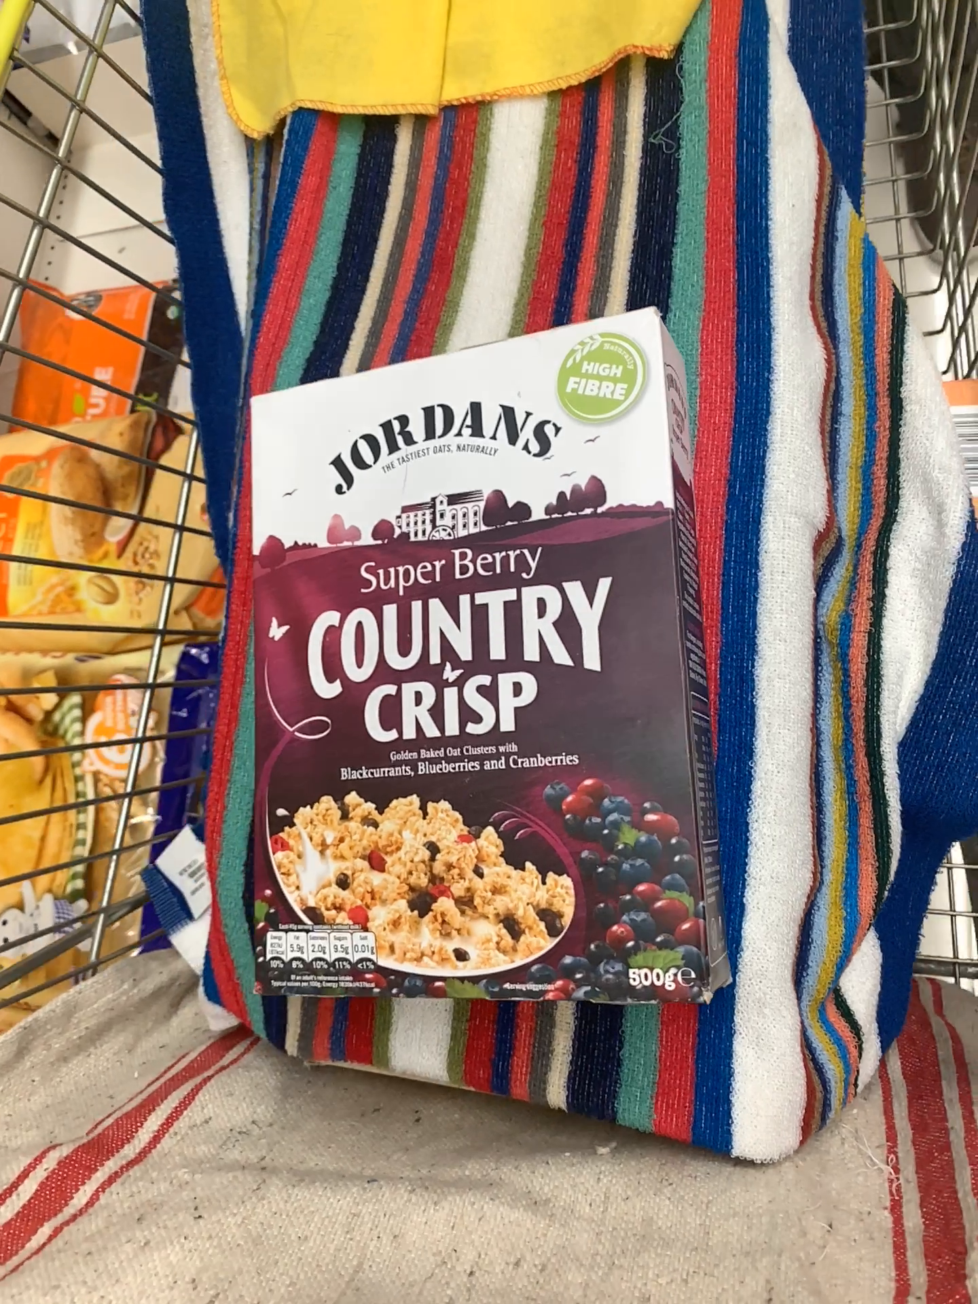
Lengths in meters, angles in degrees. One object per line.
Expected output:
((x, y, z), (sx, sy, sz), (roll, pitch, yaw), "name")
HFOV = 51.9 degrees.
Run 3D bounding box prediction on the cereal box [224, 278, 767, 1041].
((-0.005, 0.008, 0.372), (0.180, 0.060, 0.240), (-7, 79, 22), "cereal box")
